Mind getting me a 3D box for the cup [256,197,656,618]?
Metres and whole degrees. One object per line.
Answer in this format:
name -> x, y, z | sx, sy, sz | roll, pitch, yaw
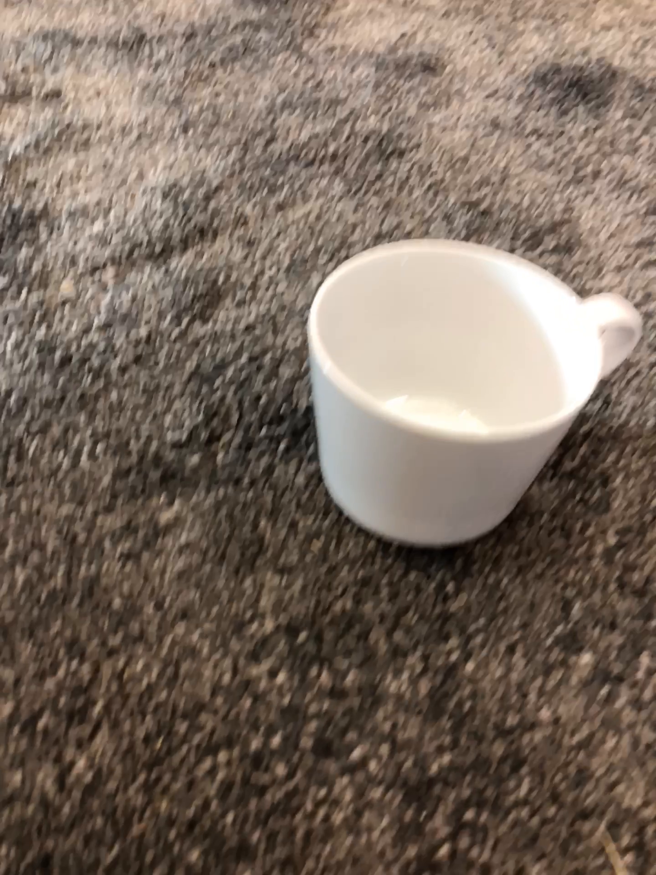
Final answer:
cup -> 0.057, -0.017, 0.277 | 0.140, 0.080, 0.100 | -17, 52, -17
